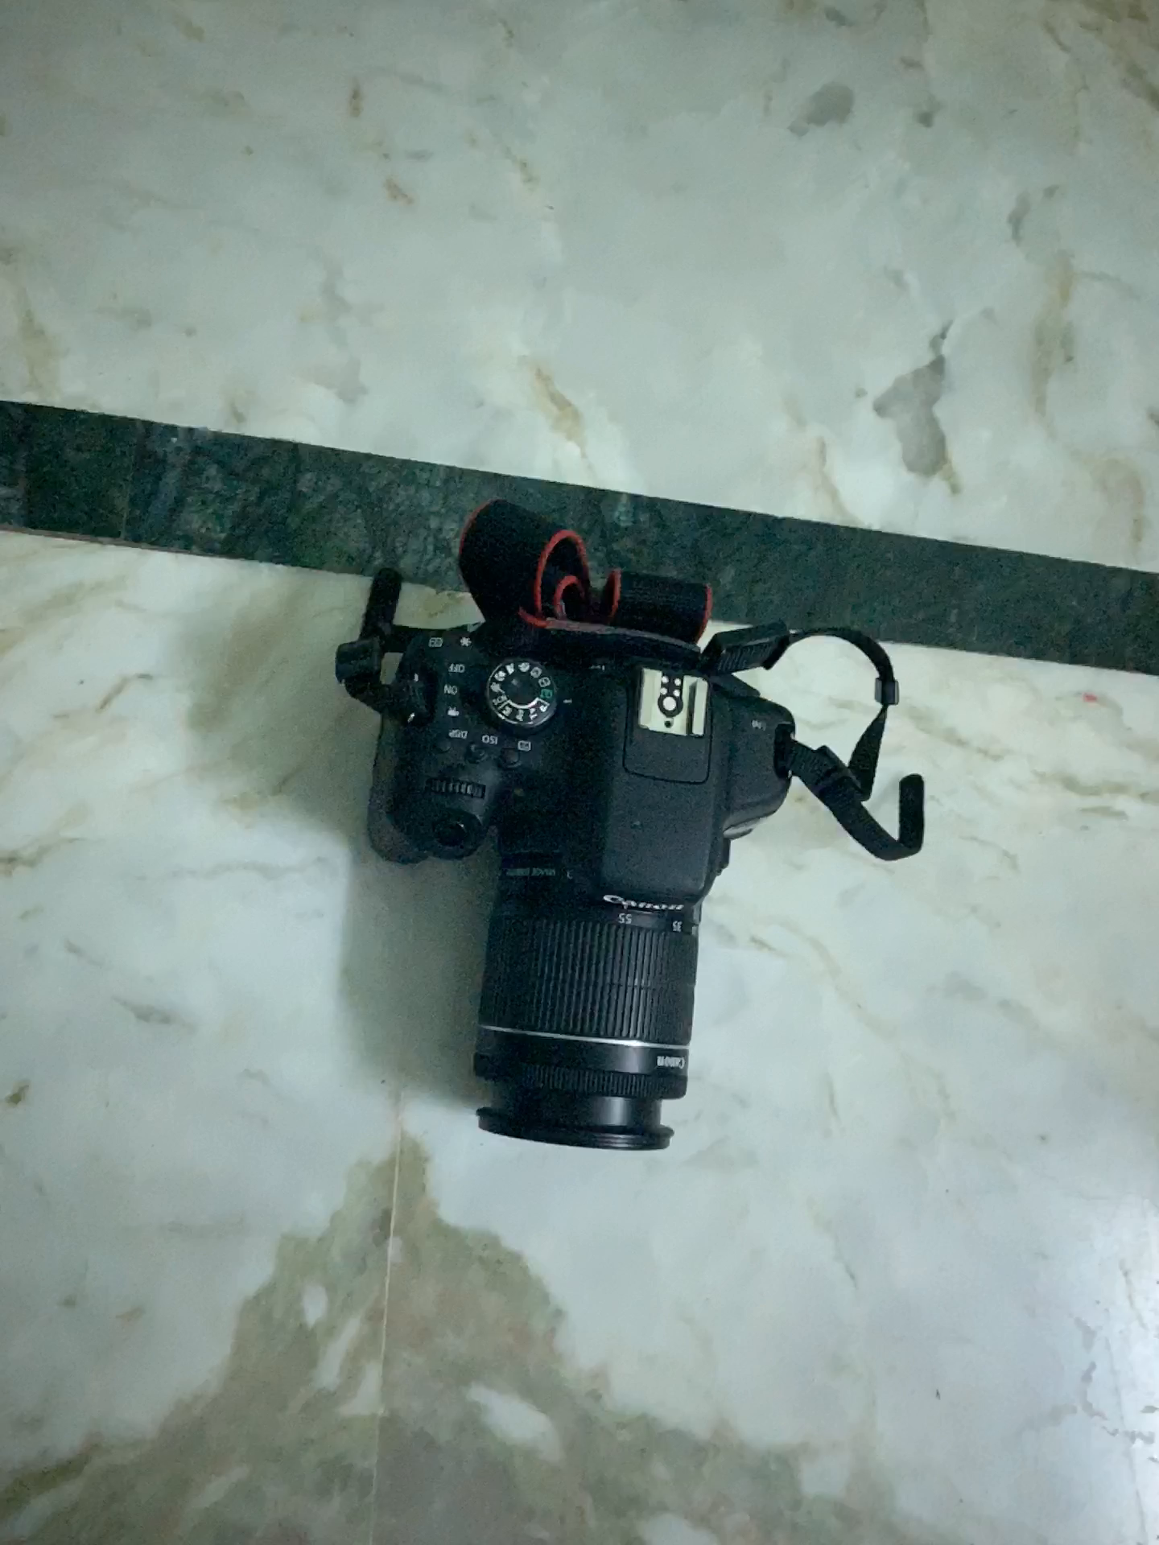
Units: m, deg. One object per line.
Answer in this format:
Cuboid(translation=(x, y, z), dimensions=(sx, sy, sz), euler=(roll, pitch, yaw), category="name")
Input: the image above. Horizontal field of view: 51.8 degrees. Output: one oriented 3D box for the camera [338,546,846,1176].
Cuboid(translation=(0.001, 0.033, 0.371), dimensions=(0.128, 0.100, 0.160), euler=(7, 76, -13), category="camera")
